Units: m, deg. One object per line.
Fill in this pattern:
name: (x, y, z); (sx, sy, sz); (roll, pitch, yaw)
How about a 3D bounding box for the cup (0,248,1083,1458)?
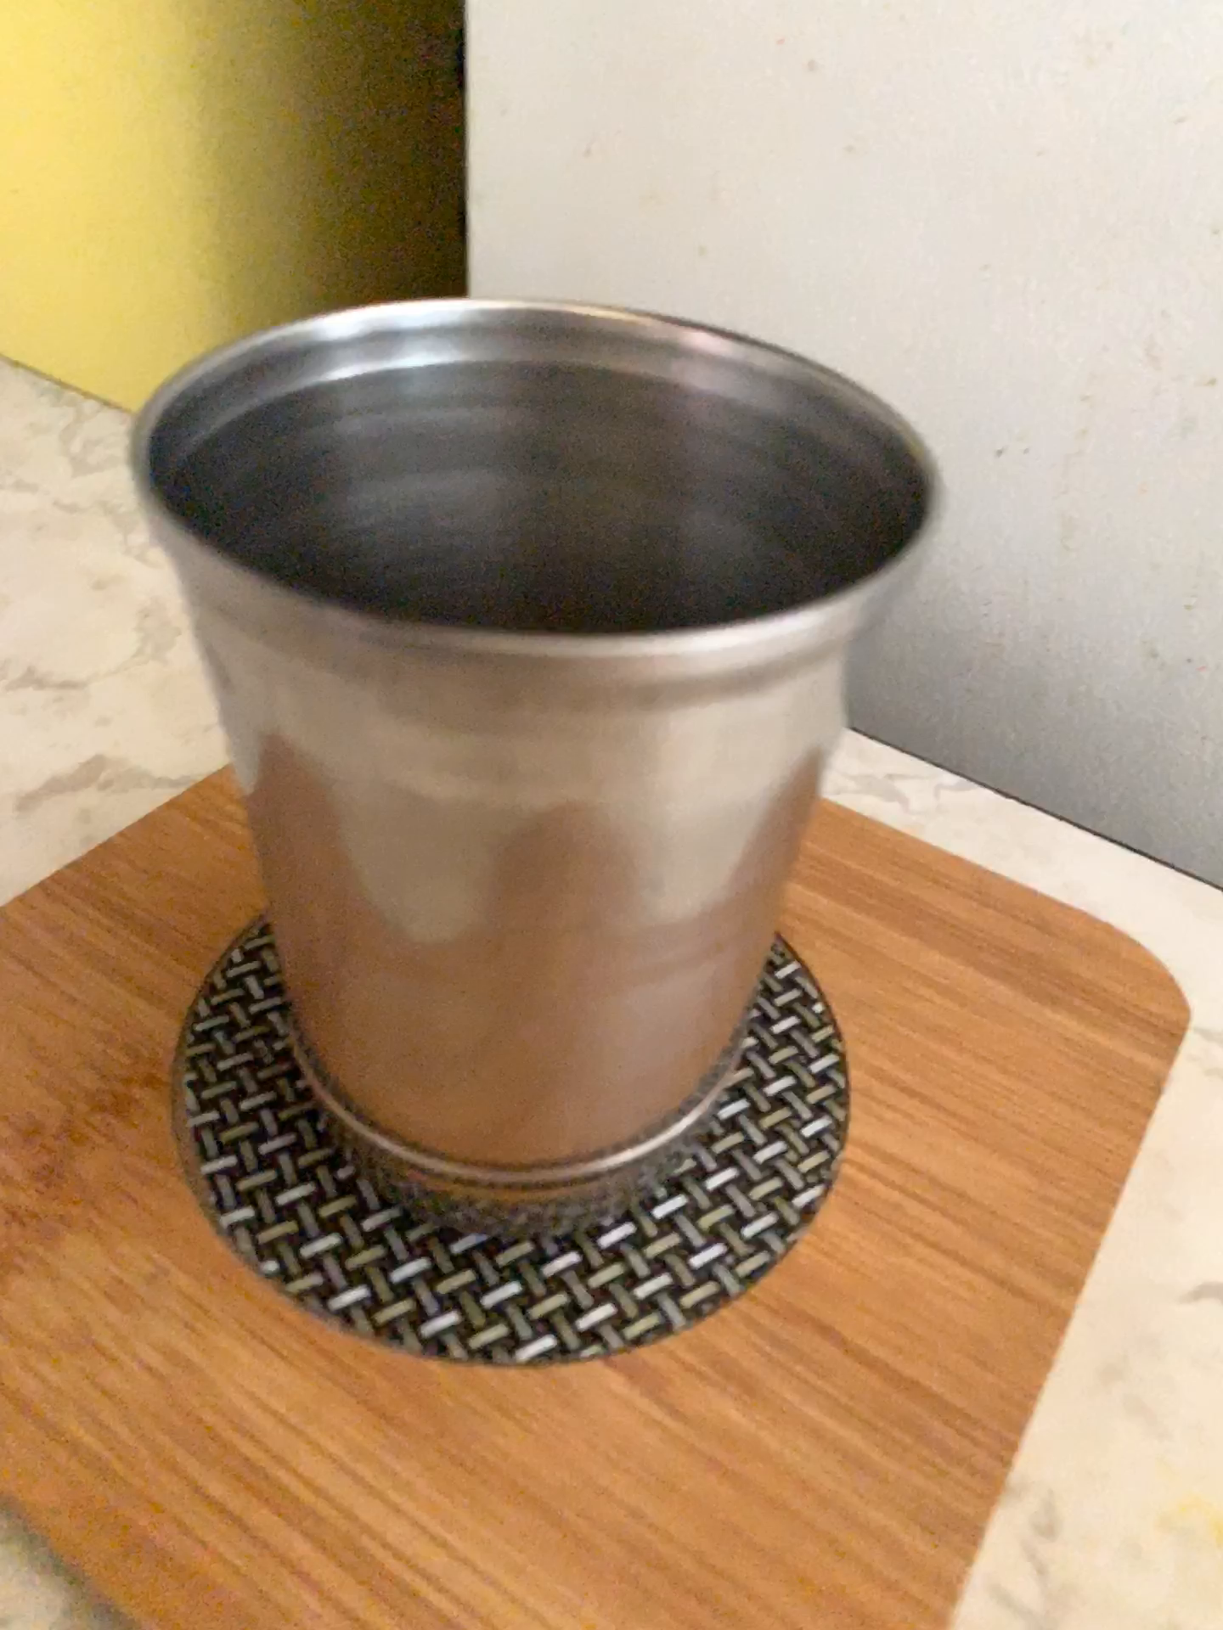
cup: (-0.007, -0.001, 0.141); (0.072, 0.091, 0.071); (2, 39, -2)
